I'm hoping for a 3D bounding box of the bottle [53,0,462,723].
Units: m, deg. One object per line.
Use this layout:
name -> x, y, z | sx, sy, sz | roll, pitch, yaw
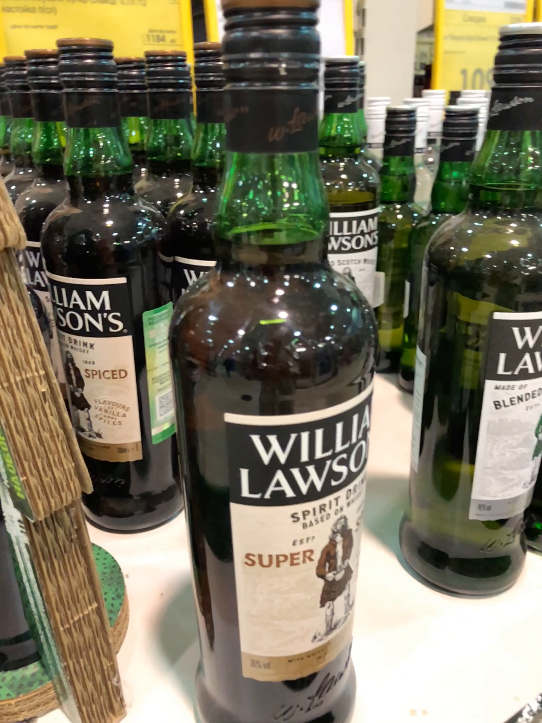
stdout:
bottle -> -0.006, 0.029, 0.233 | 0.080, 0.298, 0.090 | -18, 29, -36
